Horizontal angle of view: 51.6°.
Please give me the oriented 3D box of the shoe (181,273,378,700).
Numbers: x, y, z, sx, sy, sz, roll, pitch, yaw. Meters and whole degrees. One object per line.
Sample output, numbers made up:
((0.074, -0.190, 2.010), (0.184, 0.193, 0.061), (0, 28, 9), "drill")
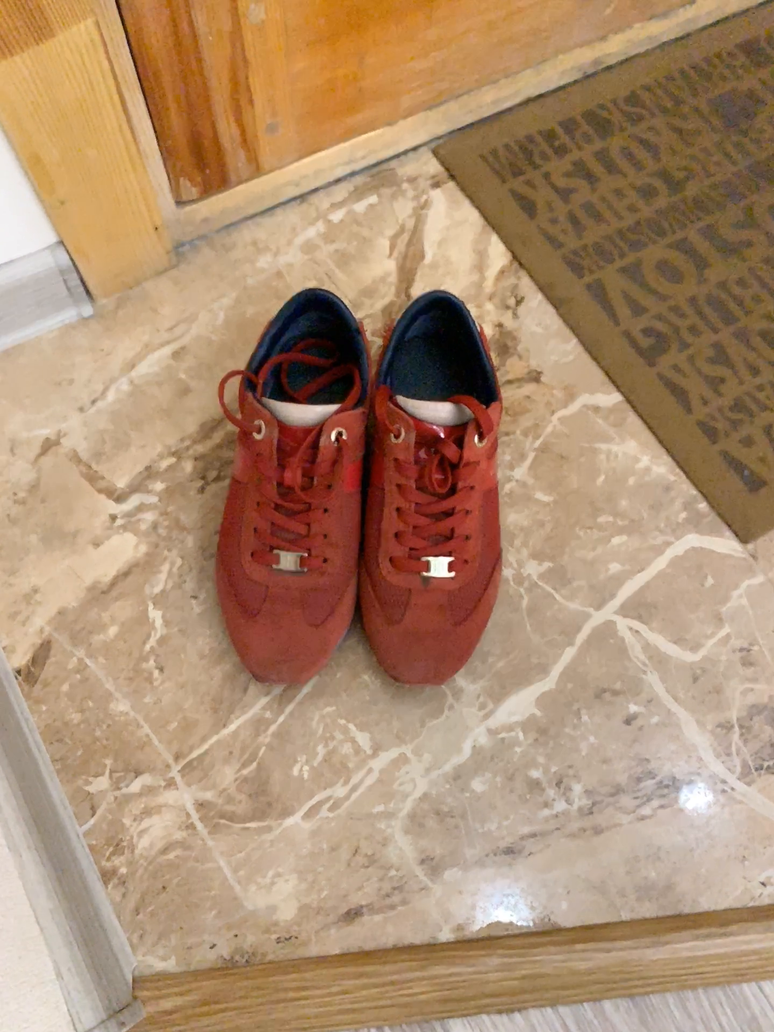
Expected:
((-0.056, -0.019, 0.487), (0.090, 0.090, 0.240), (2, 68, -1), "shoe")

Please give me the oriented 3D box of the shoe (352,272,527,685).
((0.026, -0.024, 0.499), (0.090, 0.090, 0.240), (1, 68, -2), "shoe")
